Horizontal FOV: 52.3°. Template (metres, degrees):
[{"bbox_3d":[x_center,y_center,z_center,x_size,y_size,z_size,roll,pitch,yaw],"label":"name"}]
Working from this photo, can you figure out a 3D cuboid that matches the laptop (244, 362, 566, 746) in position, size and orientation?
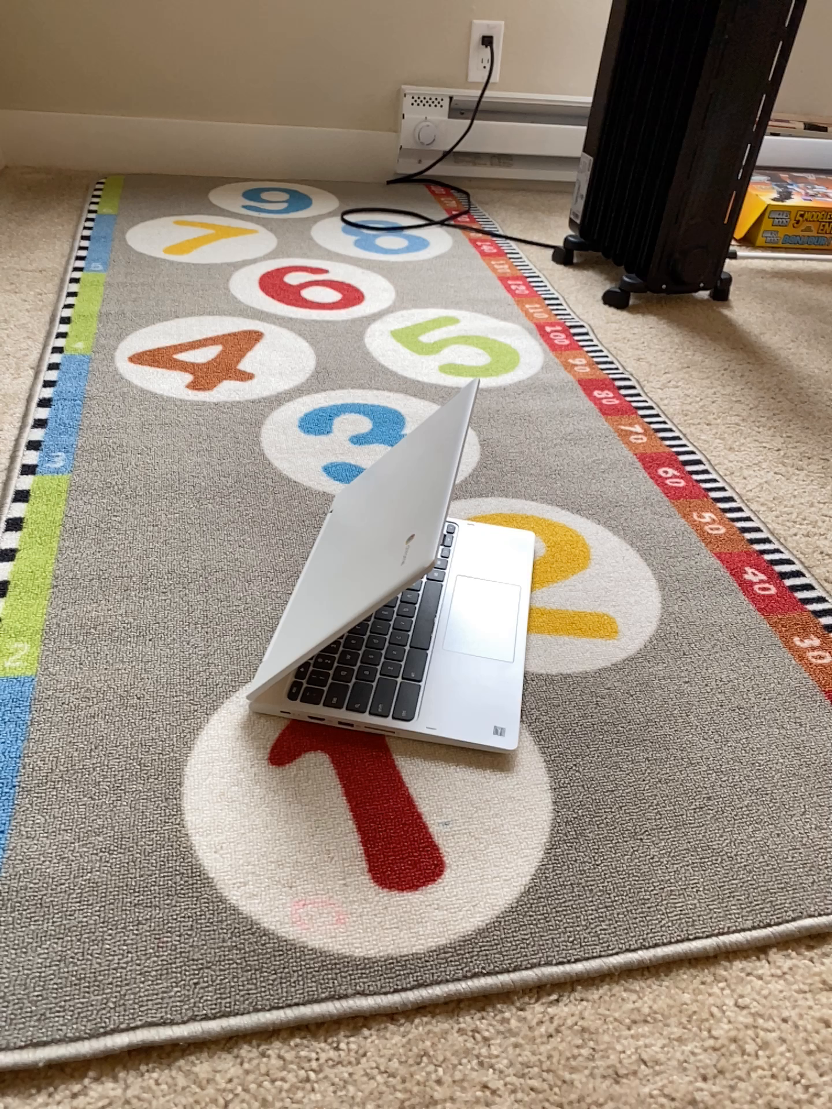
[{"bbox_3d":[0.005,-0.019,0.729,0.216,0.164,0.295,8,36,5],"label":"laptop"}]
